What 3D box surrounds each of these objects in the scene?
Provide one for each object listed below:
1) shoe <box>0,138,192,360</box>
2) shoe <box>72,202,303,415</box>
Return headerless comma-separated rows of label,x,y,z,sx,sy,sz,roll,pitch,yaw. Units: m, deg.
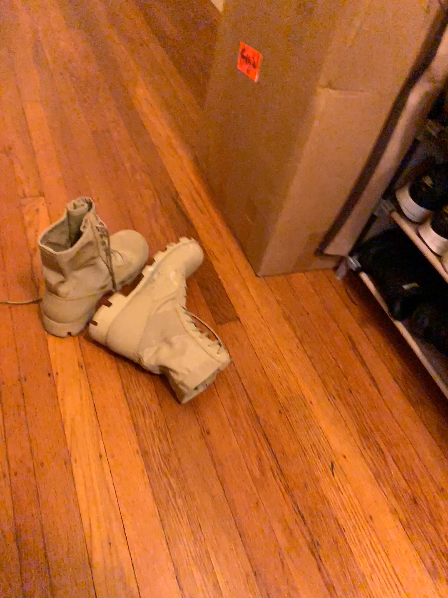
shoe,-0.232,-0.097,0.816,0.190,0.199,0.301,30,50,10
shoe,-0.052,-0.005,0.810,0.250,0.119,0.311,27,49,18
